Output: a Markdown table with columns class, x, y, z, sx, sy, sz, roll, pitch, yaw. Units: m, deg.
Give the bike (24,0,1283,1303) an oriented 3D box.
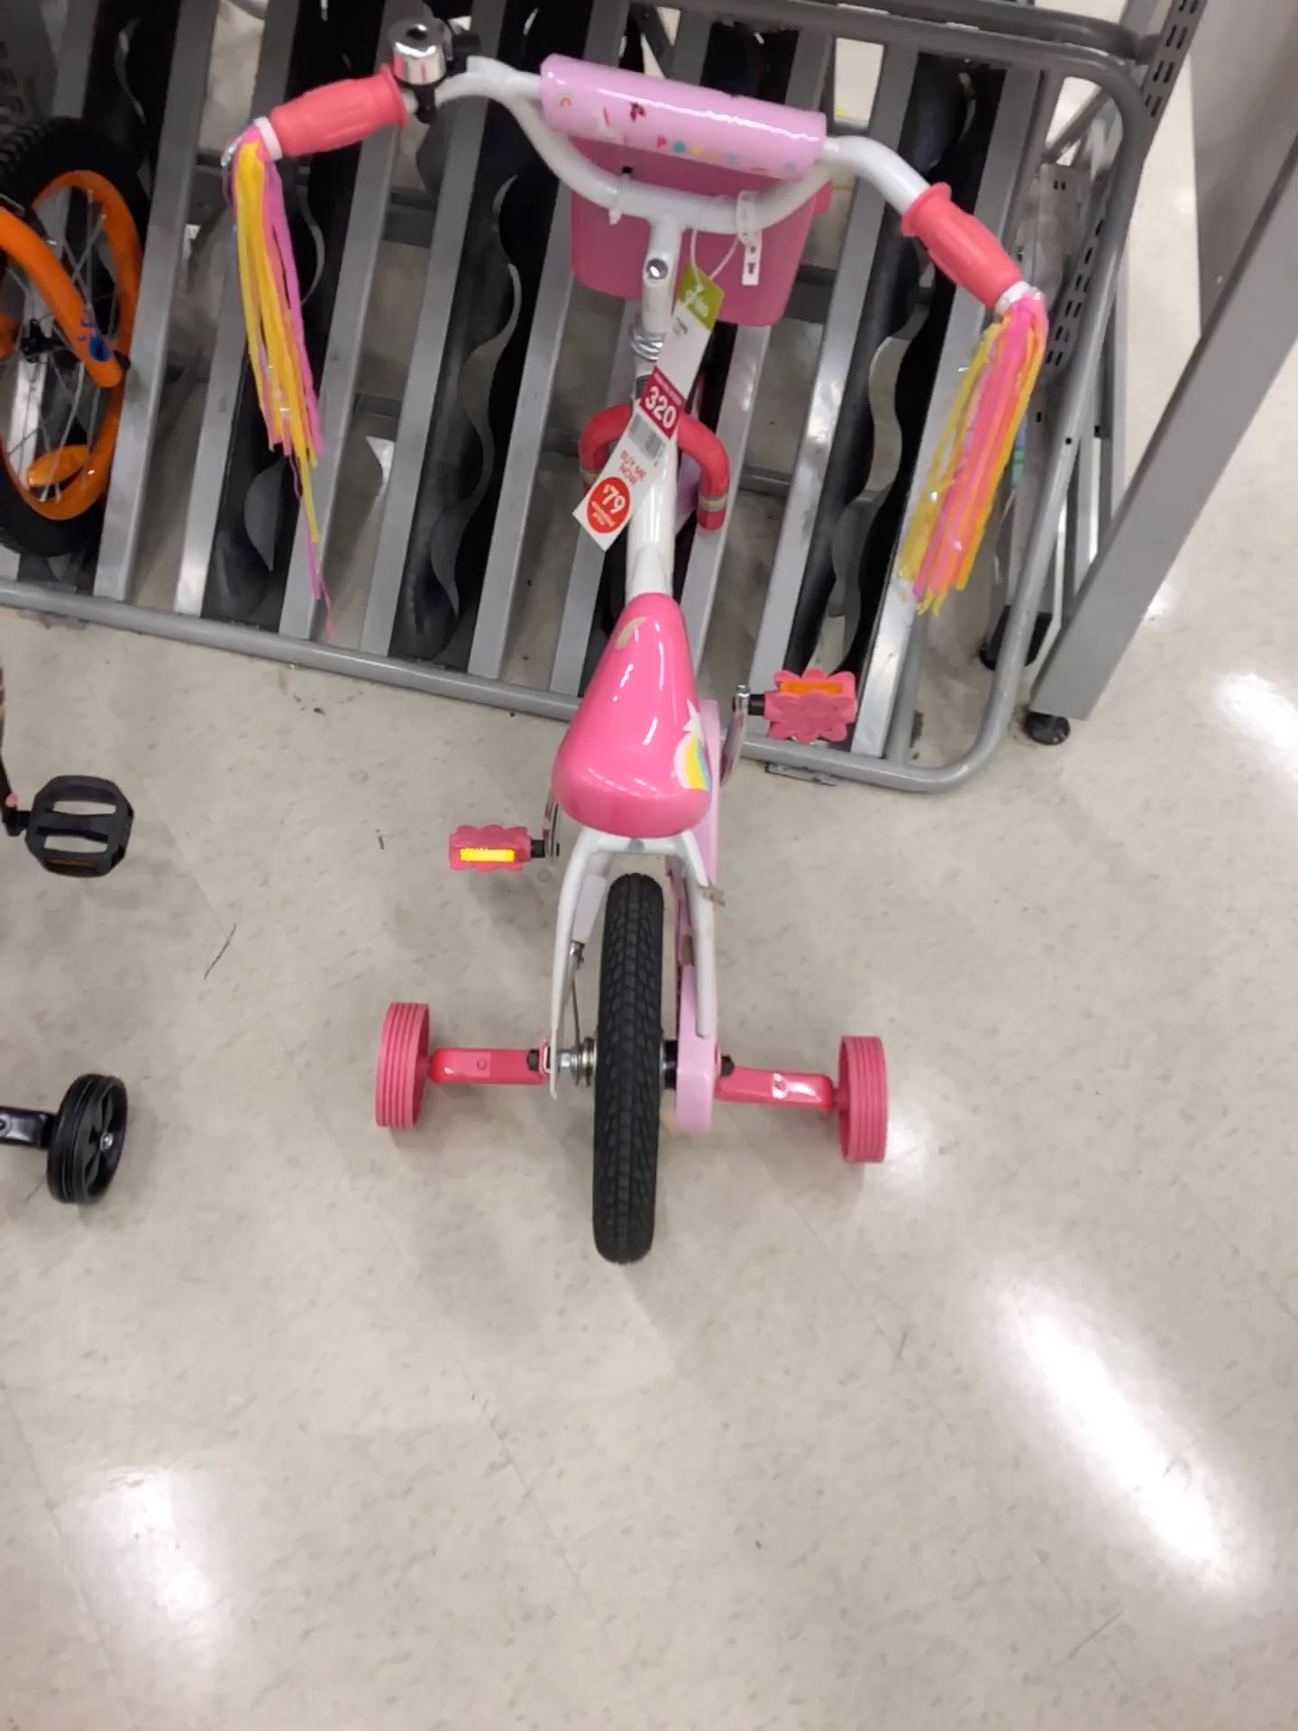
| class | x | y | z | sx | sy | sz | roll | pitch | yaw |
| --- | --- | --- | --- | --- | --- | --- | --- | --- | --- |
| bike | 0.007 | -0.240 | 1.073 | 0.515 | 0.592 | 0.946 | 4 | 59 | -2 |
